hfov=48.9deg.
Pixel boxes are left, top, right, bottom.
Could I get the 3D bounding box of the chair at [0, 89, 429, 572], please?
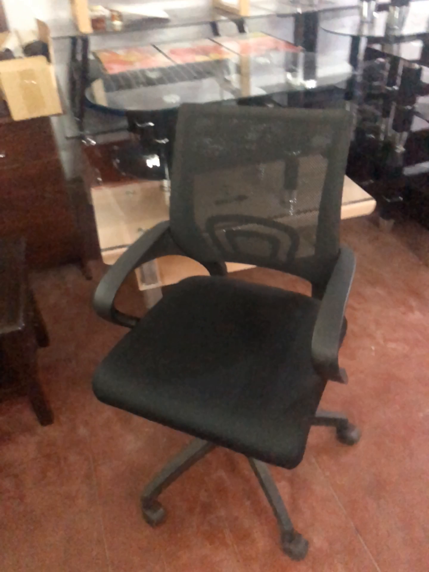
[{"bbox_3d":[0.004,0.101,1.161,0.750,0.915,0.633,13,40,21],"label":"chair"}]
